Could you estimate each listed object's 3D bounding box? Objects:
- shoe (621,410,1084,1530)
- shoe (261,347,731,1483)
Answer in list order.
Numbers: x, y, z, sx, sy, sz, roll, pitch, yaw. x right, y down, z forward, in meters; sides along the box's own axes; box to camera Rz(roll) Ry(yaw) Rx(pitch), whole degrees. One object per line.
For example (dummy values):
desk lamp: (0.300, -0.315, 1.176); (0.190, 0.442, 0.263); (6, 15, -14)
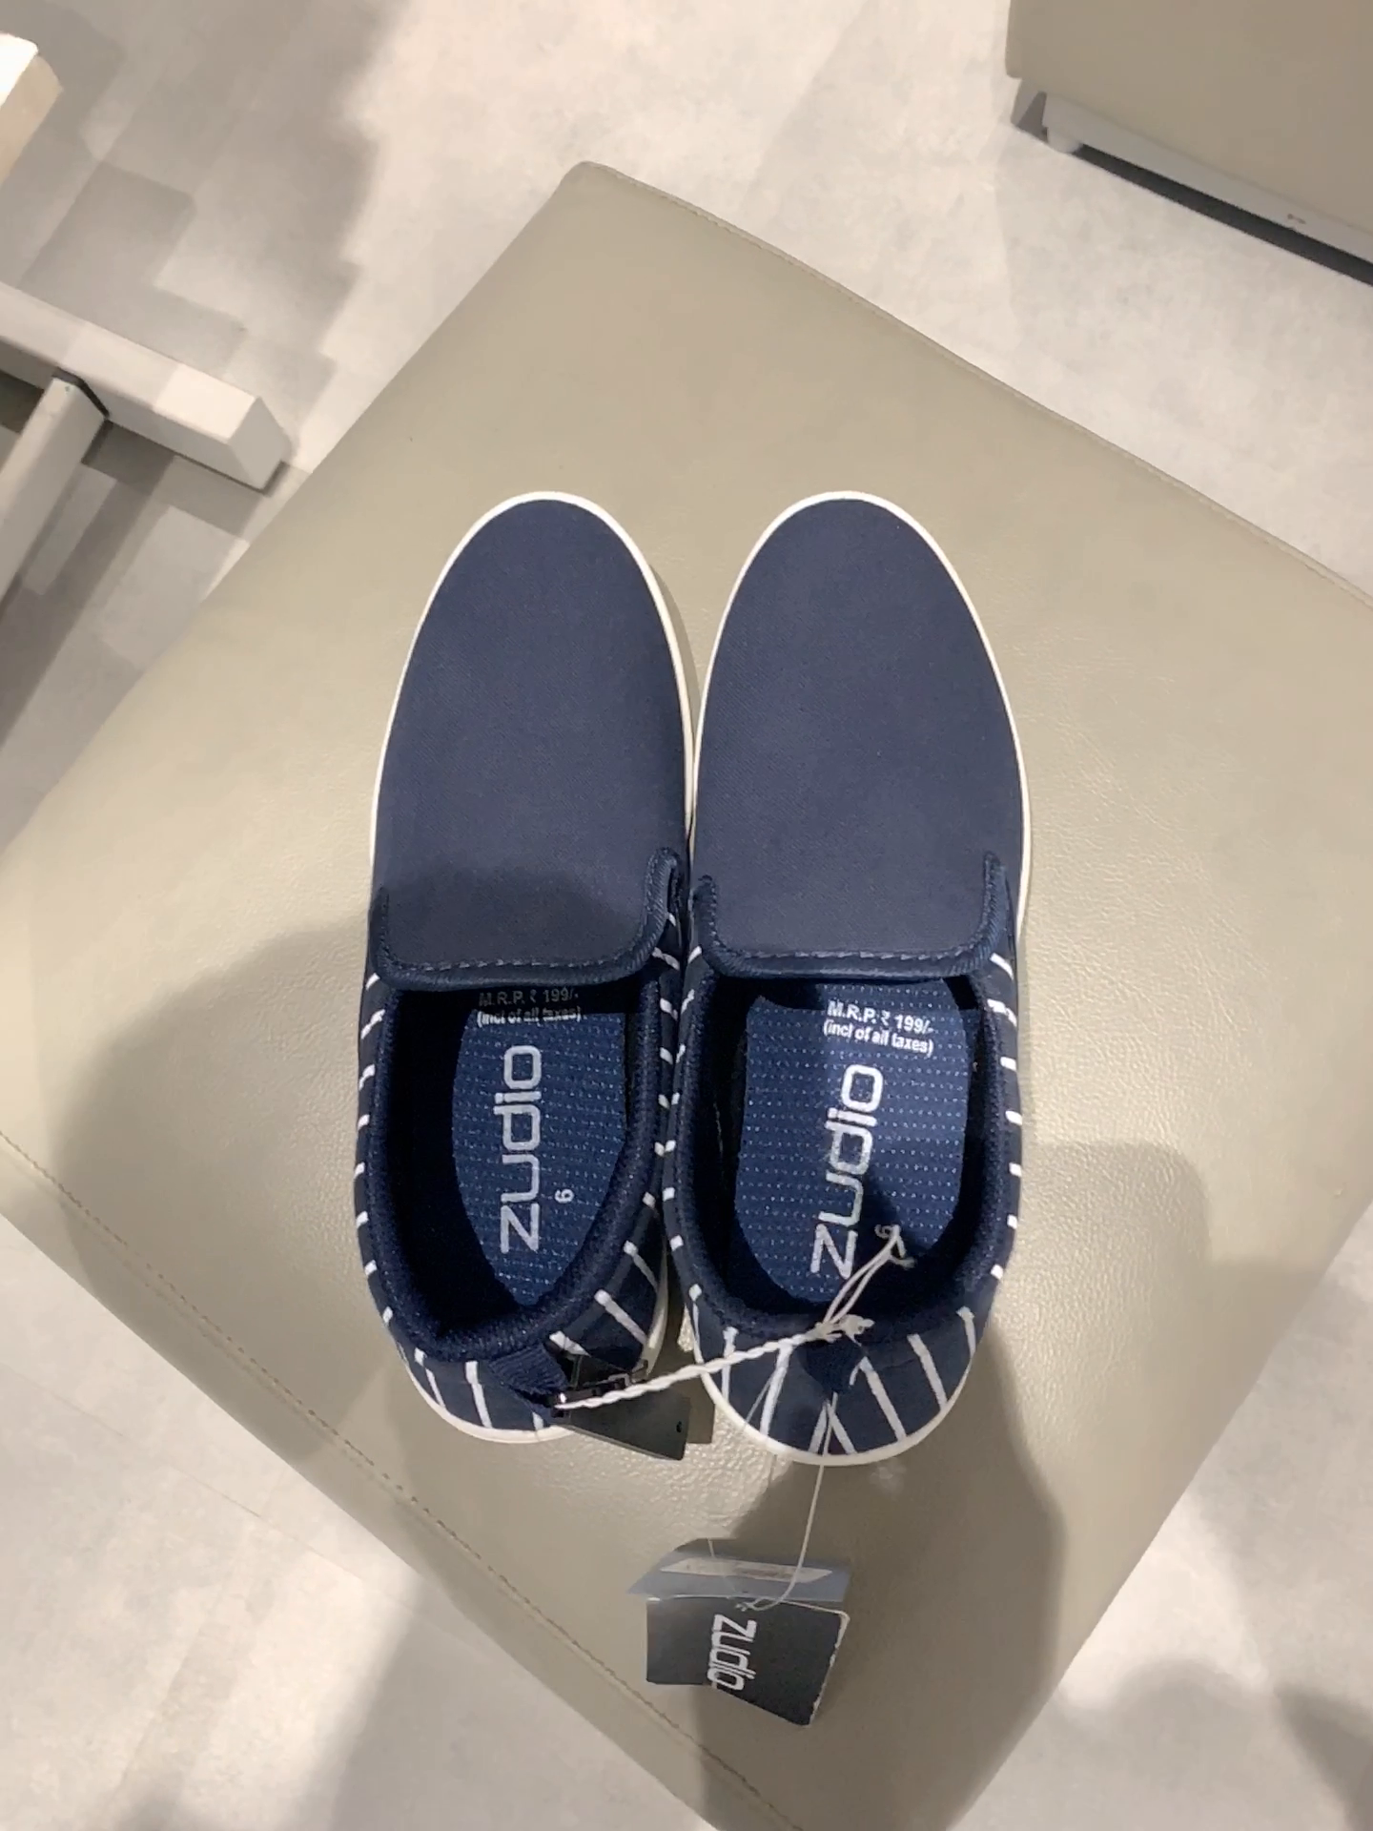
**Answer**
shoe: (0.046, 0.010, 0.381); (0.100, 0.090, 0.270); (2, 76, 5)
shoe: (-0.047, -0.002, 0.387); (0.100, 0.090, 0.280); (-3, 76, 4)
